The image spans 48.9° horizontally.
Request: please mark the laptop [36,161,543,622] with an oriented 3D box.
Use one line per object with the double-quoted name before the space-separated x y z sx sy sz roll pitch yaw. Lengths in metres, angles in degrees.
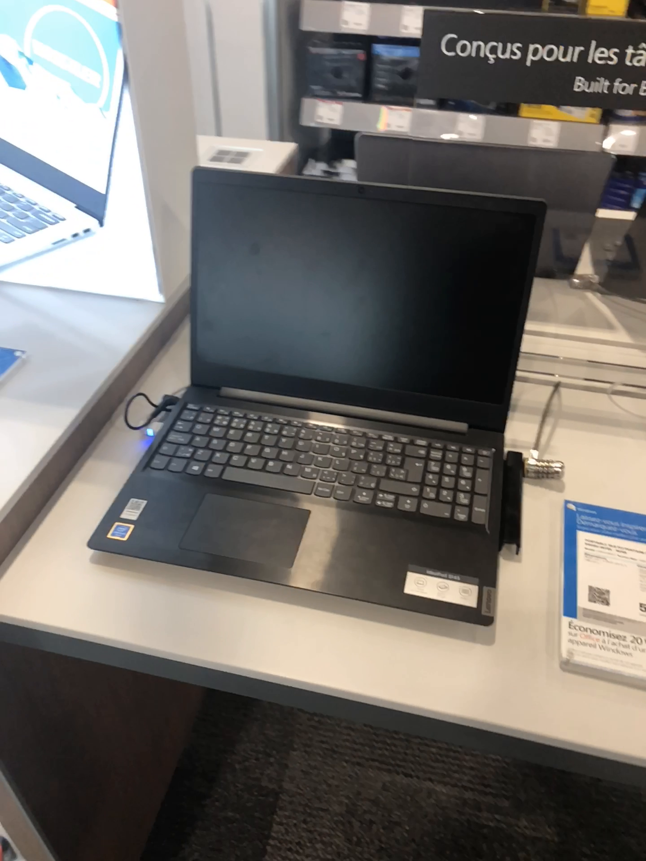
"laptop" 0.002 -0.062 0.652 0.346 0.213 0.324 9 42 10
